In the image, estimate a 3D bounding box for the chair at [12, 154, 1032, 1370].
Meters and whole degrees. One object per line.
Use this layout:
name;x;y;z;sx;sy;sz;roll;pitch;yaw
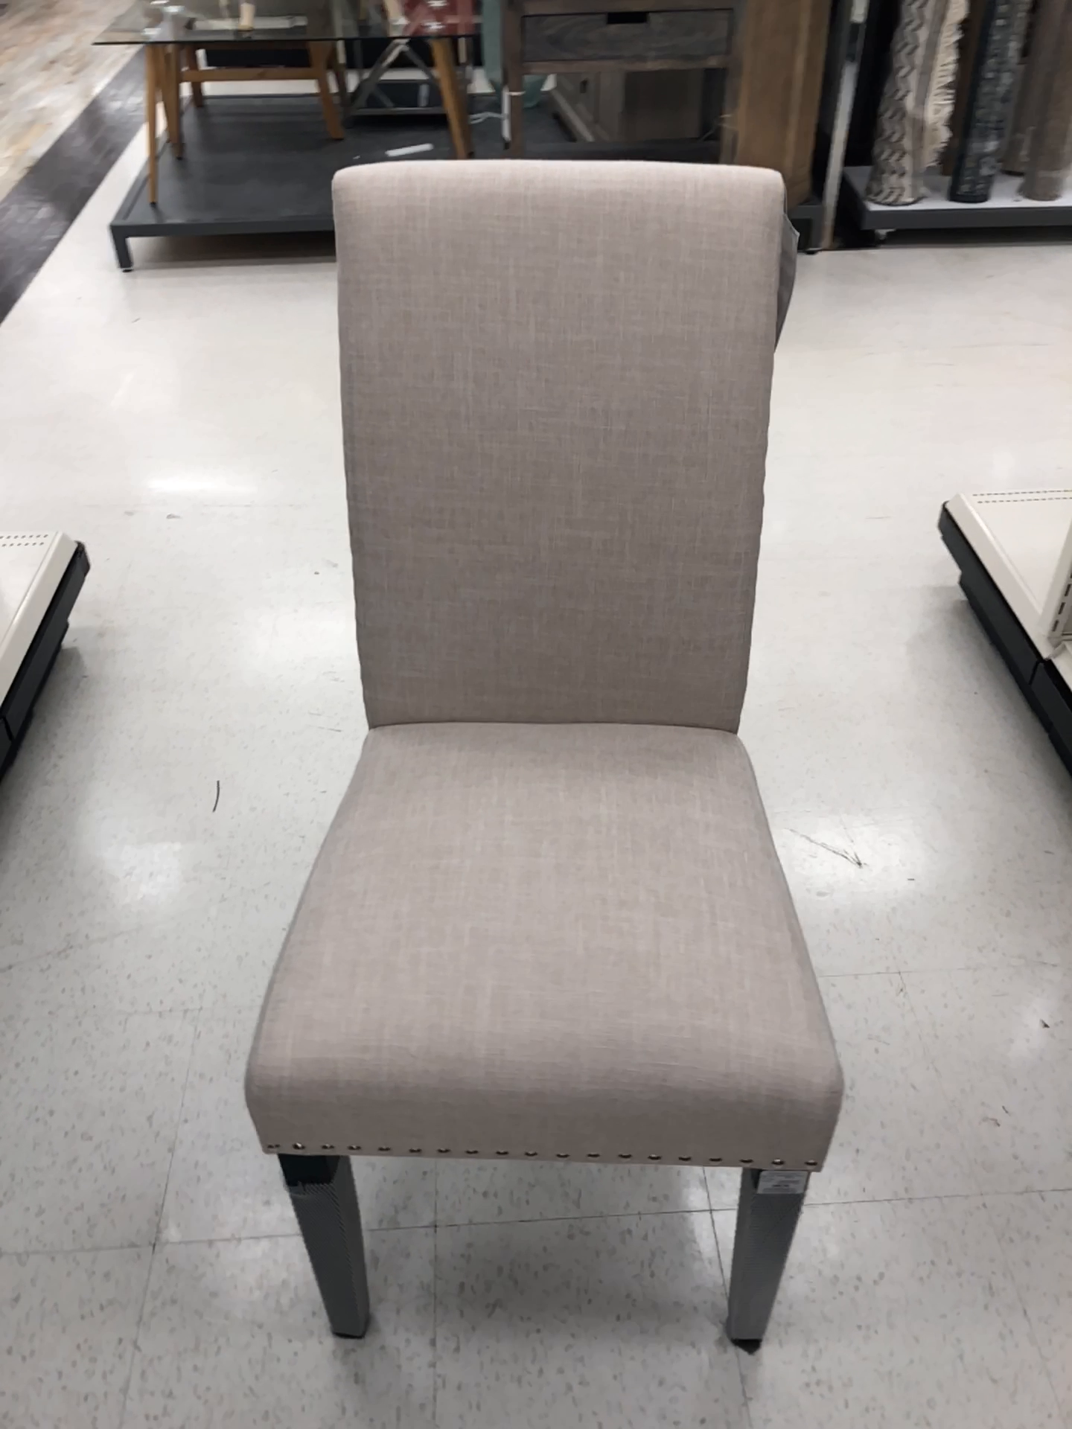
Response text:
chair;0.006;0.095;1.098;0.487;1.006;0.559;1;40;2
